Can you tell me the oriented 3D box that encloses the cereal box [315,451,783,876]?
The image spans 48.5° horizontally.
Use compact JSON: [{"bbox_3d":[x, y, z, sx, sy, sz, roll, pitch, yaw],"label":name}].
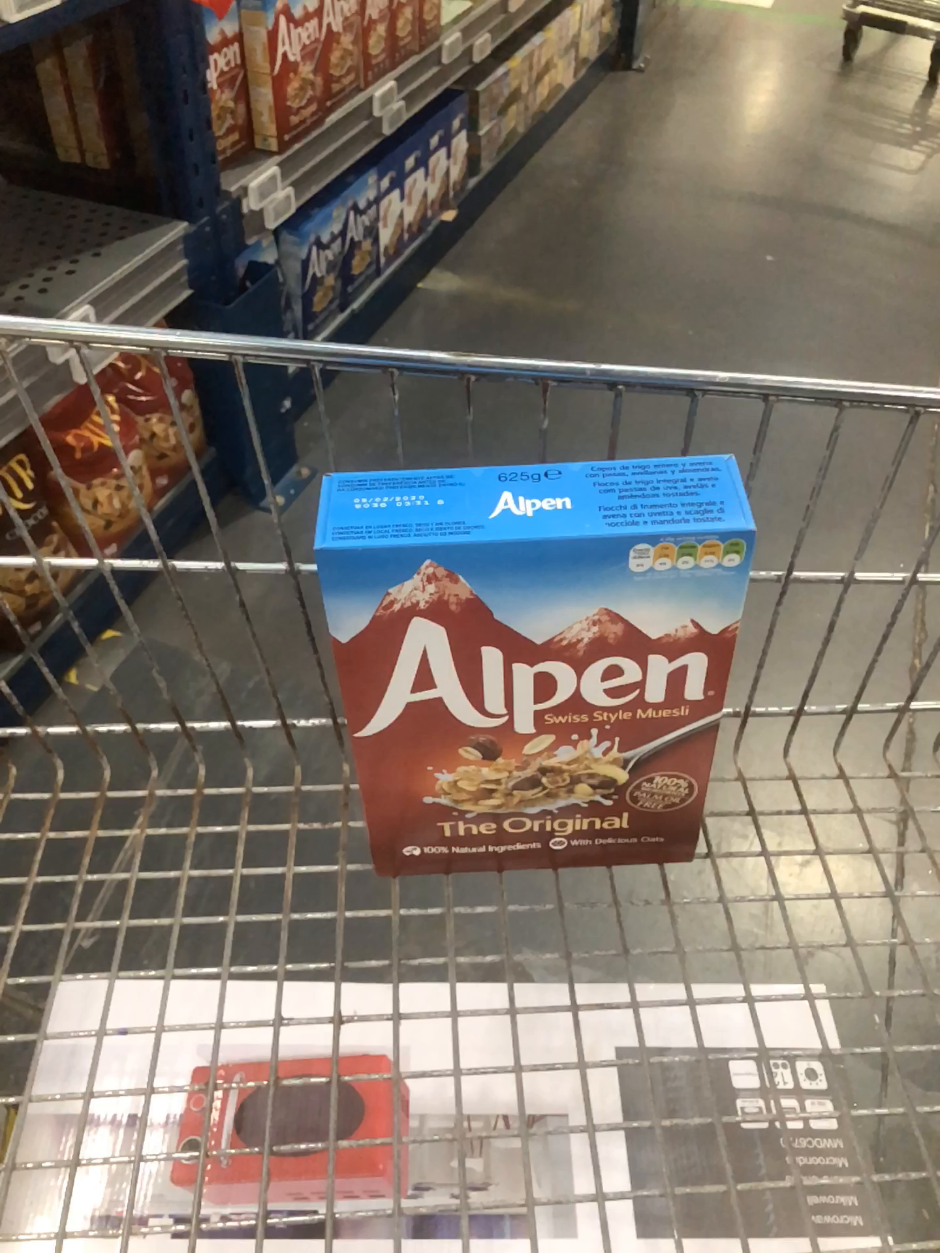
[{"bbox_3d":[0.031,0.028,0.498,0.180,0.219,0.060,-2,44,-1],"label":"cereal box"}]
